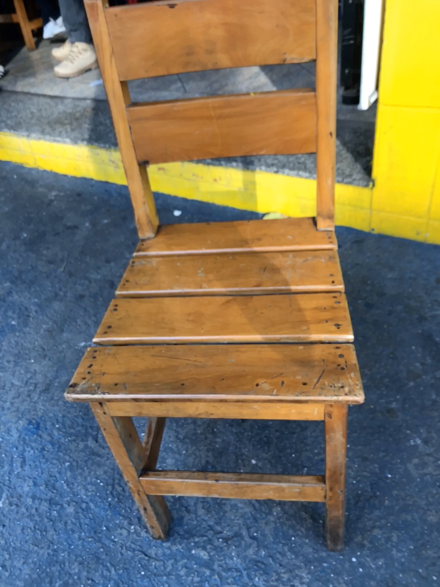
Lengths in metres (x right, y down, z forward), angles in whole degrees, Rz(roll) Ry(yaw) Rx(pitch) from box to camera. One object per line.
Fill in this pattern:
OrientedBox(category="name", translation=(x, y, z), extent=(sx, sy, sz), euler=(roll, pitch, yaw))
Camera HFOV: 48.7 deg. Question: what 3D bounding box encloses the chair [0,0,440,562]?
OrientedBox(category="chair", translation=(0.015, -0.007, 0.752), extent=(0.400, 0.804, 0.443), euler=(-1, 39, 10))
